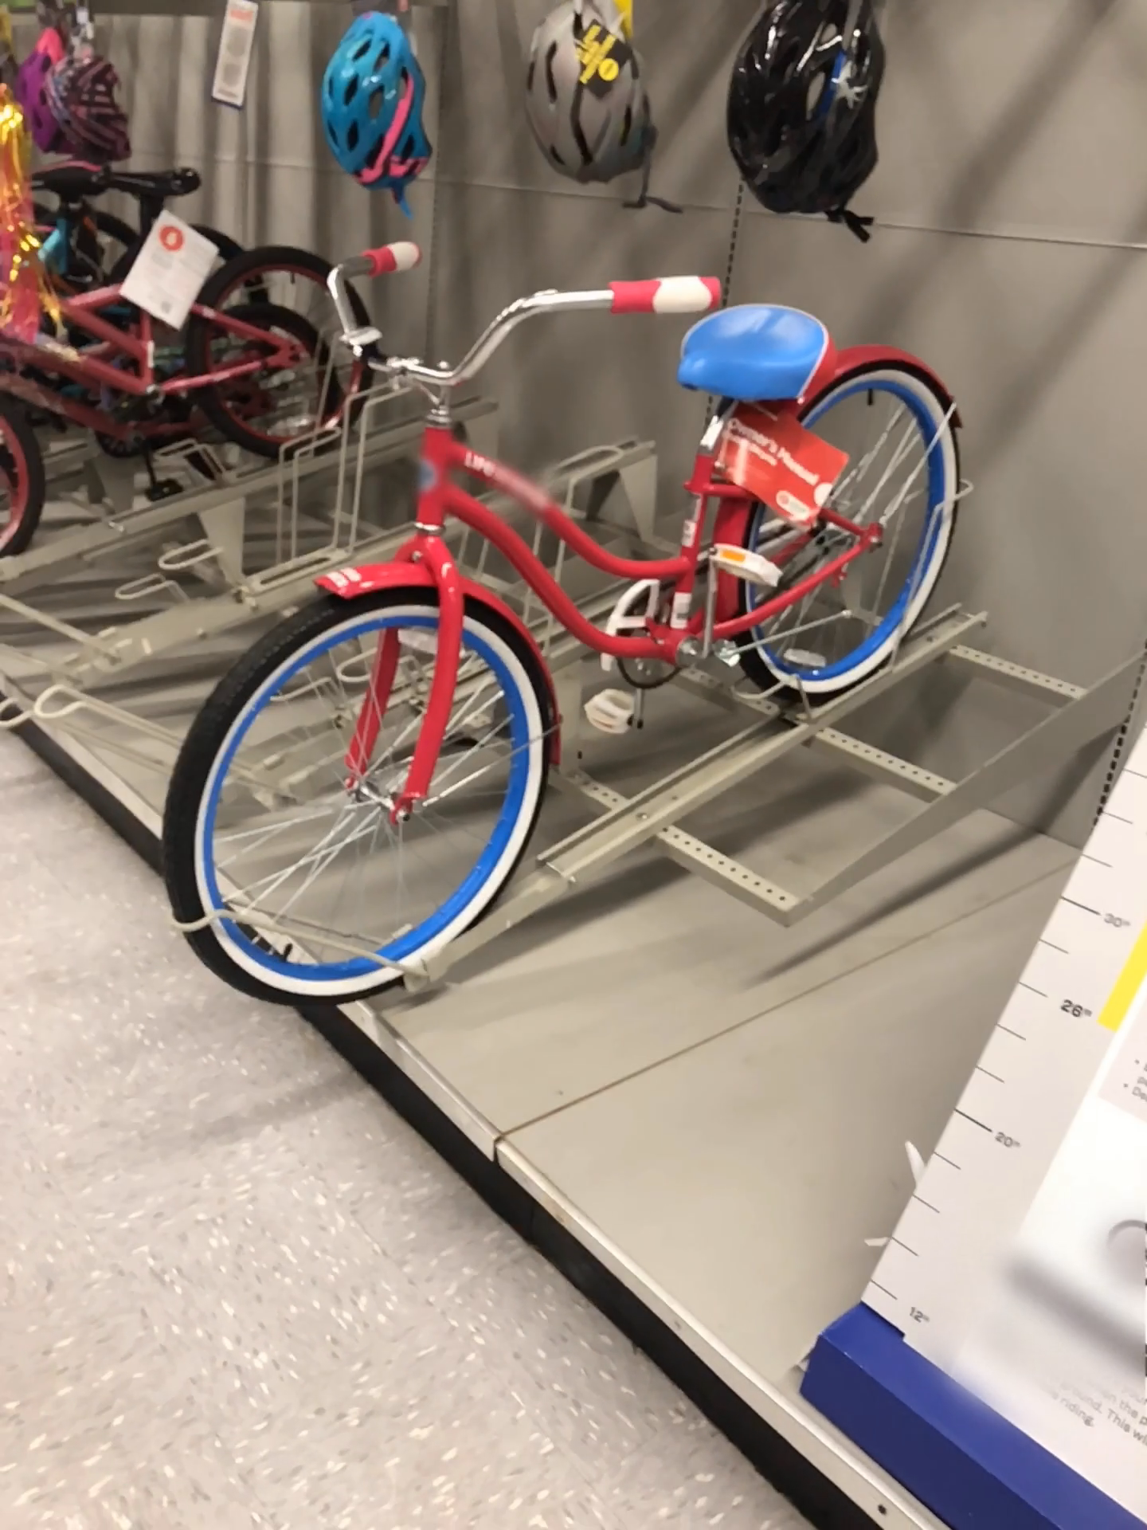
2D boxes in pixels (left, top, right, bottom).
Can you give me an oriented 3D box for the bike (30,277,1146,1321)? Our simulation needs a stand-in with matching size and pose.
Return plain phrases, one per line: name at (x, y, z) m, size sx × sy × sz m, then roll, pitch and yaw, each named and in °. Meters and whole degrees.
bike at (0.066, -0.159, 2.047) m, size 1.608 × 0.676 × 0.813 m, roll -29°, pitch 39°, yaw -31°
